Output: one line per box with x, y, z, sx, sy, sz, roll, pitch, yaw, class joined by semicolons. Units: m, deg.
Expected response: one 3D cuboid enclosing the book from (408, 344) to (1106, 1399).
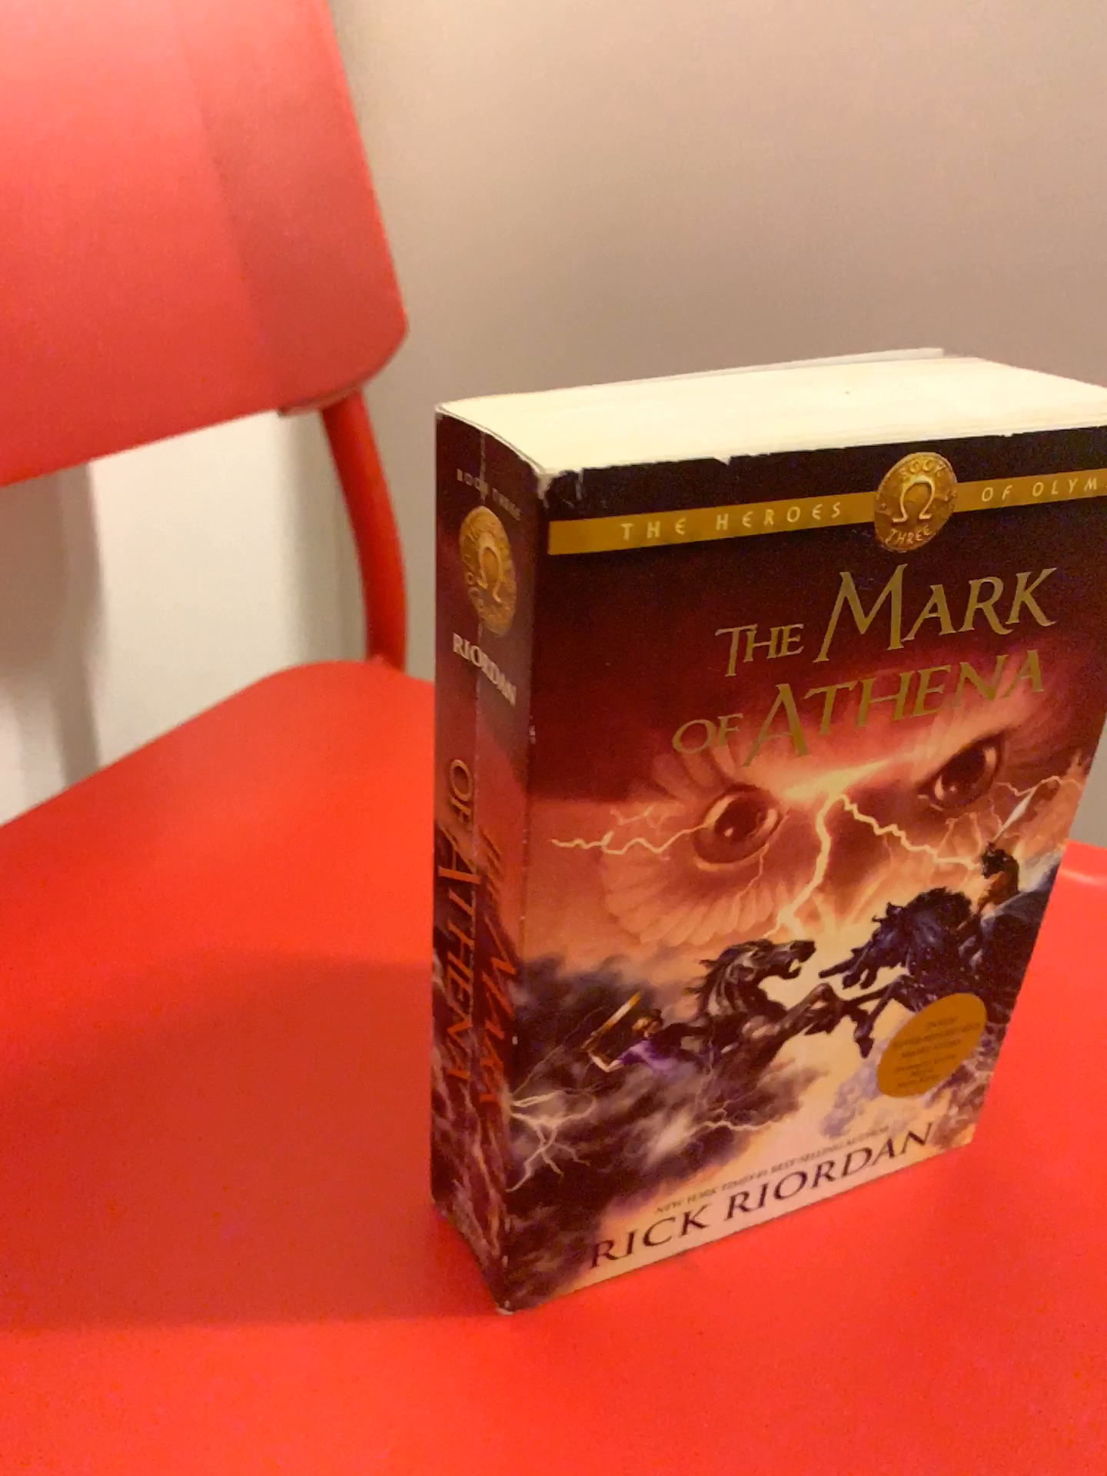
0.046;0.025;0.249;0.140;0.193;0.061;-14;34;-28;book
